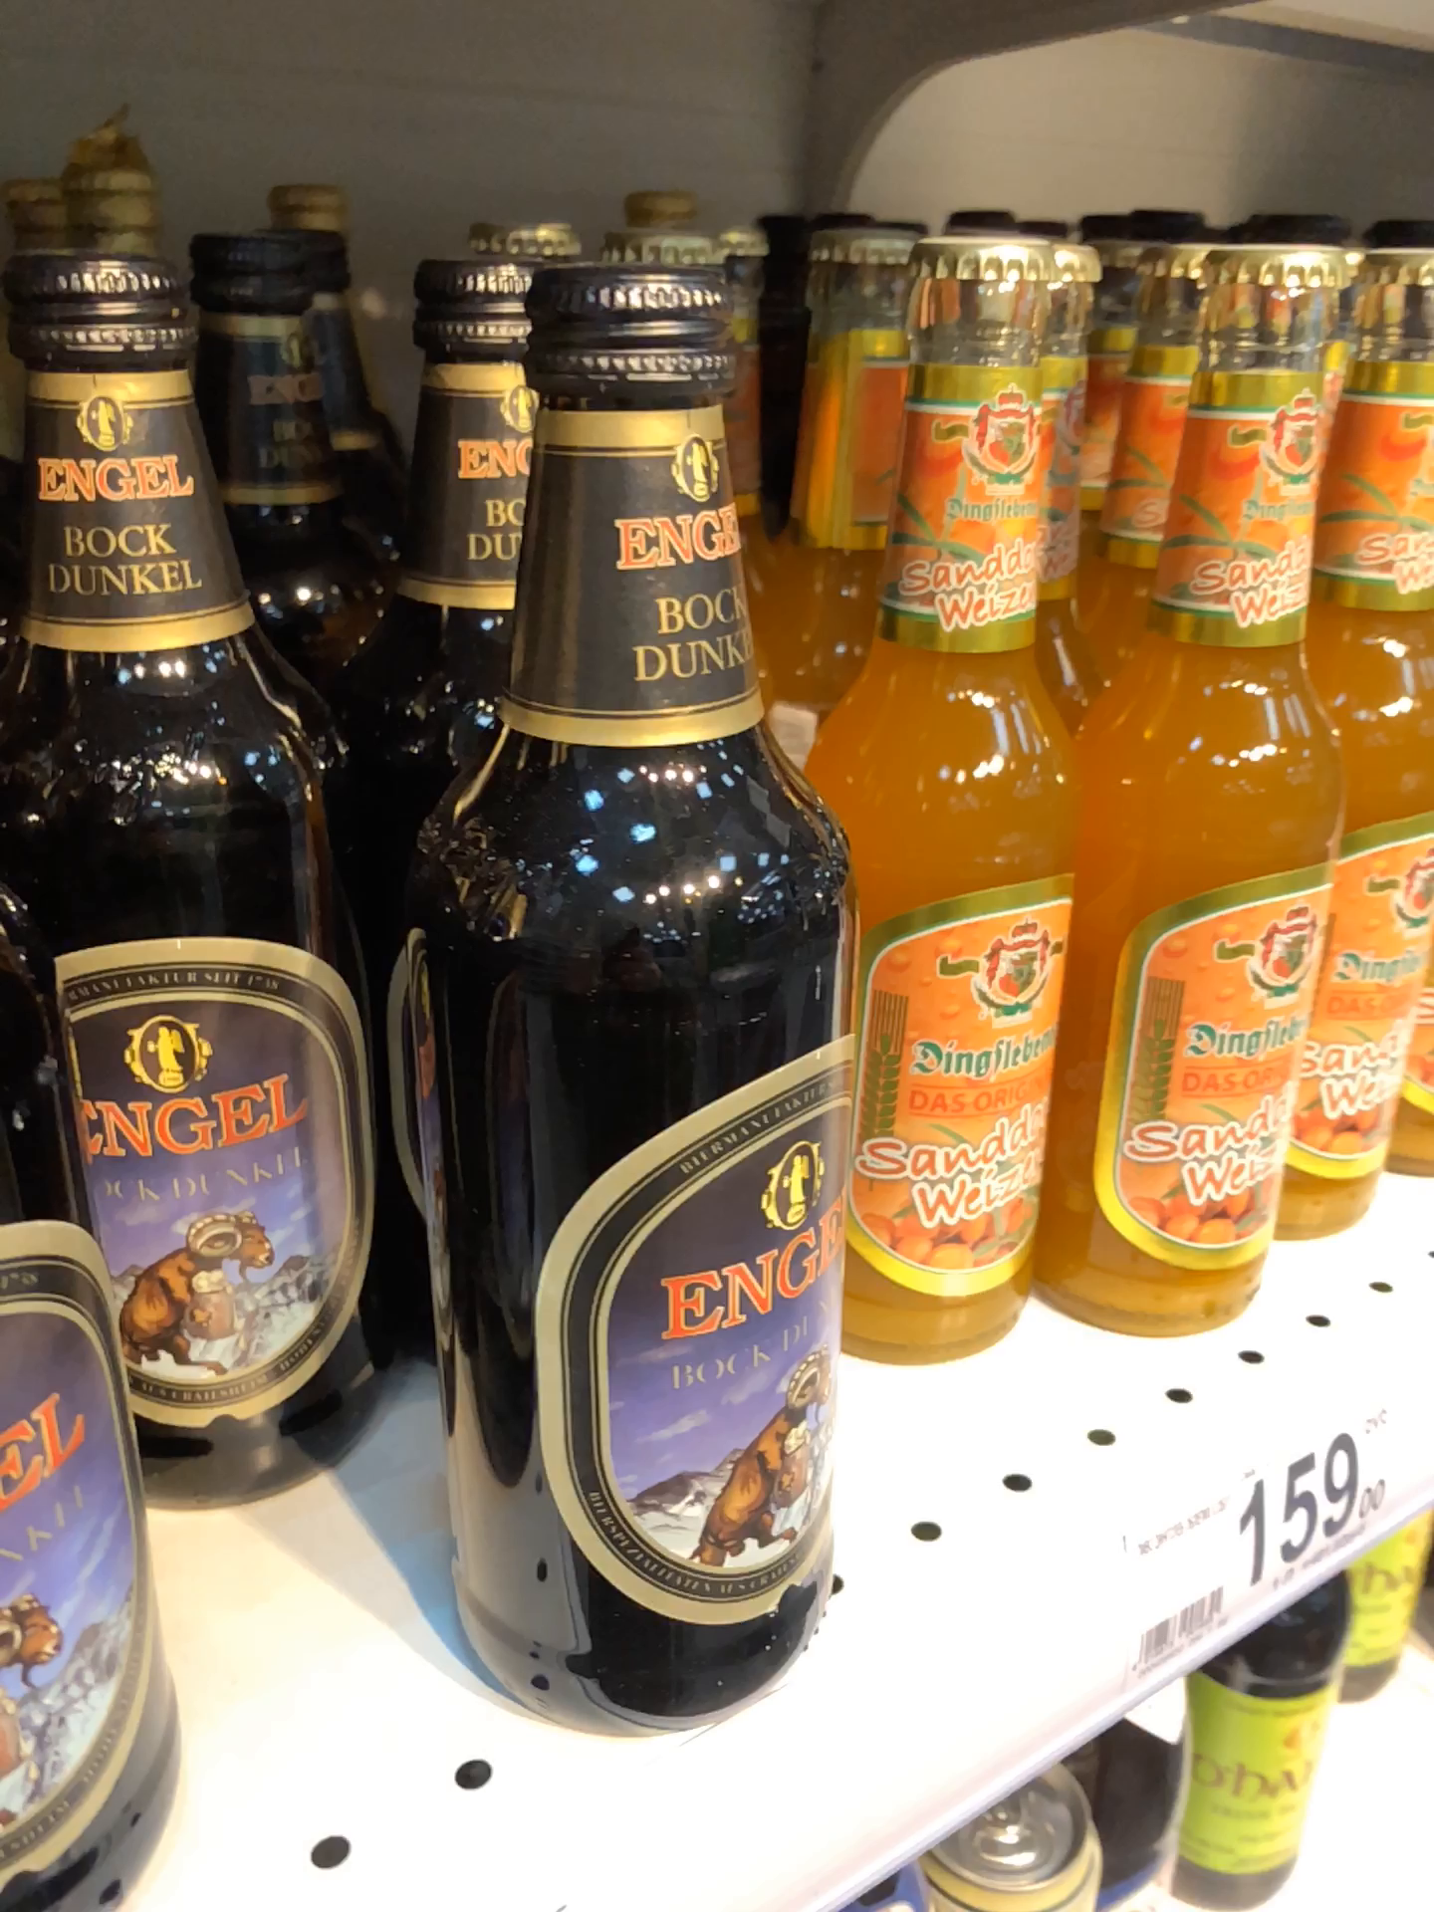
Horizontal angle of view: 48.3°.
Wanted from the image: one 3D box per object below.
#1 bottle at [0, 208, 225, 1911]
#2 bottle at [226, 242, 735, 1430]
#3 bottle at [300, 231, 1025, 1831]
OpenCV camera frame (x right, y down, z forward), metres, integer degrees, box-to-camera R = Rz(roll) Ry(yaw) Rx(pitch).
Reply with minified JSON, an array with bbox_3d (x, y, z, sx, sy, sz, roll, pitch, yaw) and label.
[{"bbox_3d":[-0.120,0.035,0.203,0.070,0.233,0.061,-17,29,-37],"label":"bottle"},{"bbox_3d":[-0.048,-0.025,0.343,0.069,0.233,0.070,1,23,-1],"label":"bottle"},{"bbox_3d":[-0.010,0.014,0.249,0.070,0.229,0.061,-17,29,-37],"label":"bottle"}]
